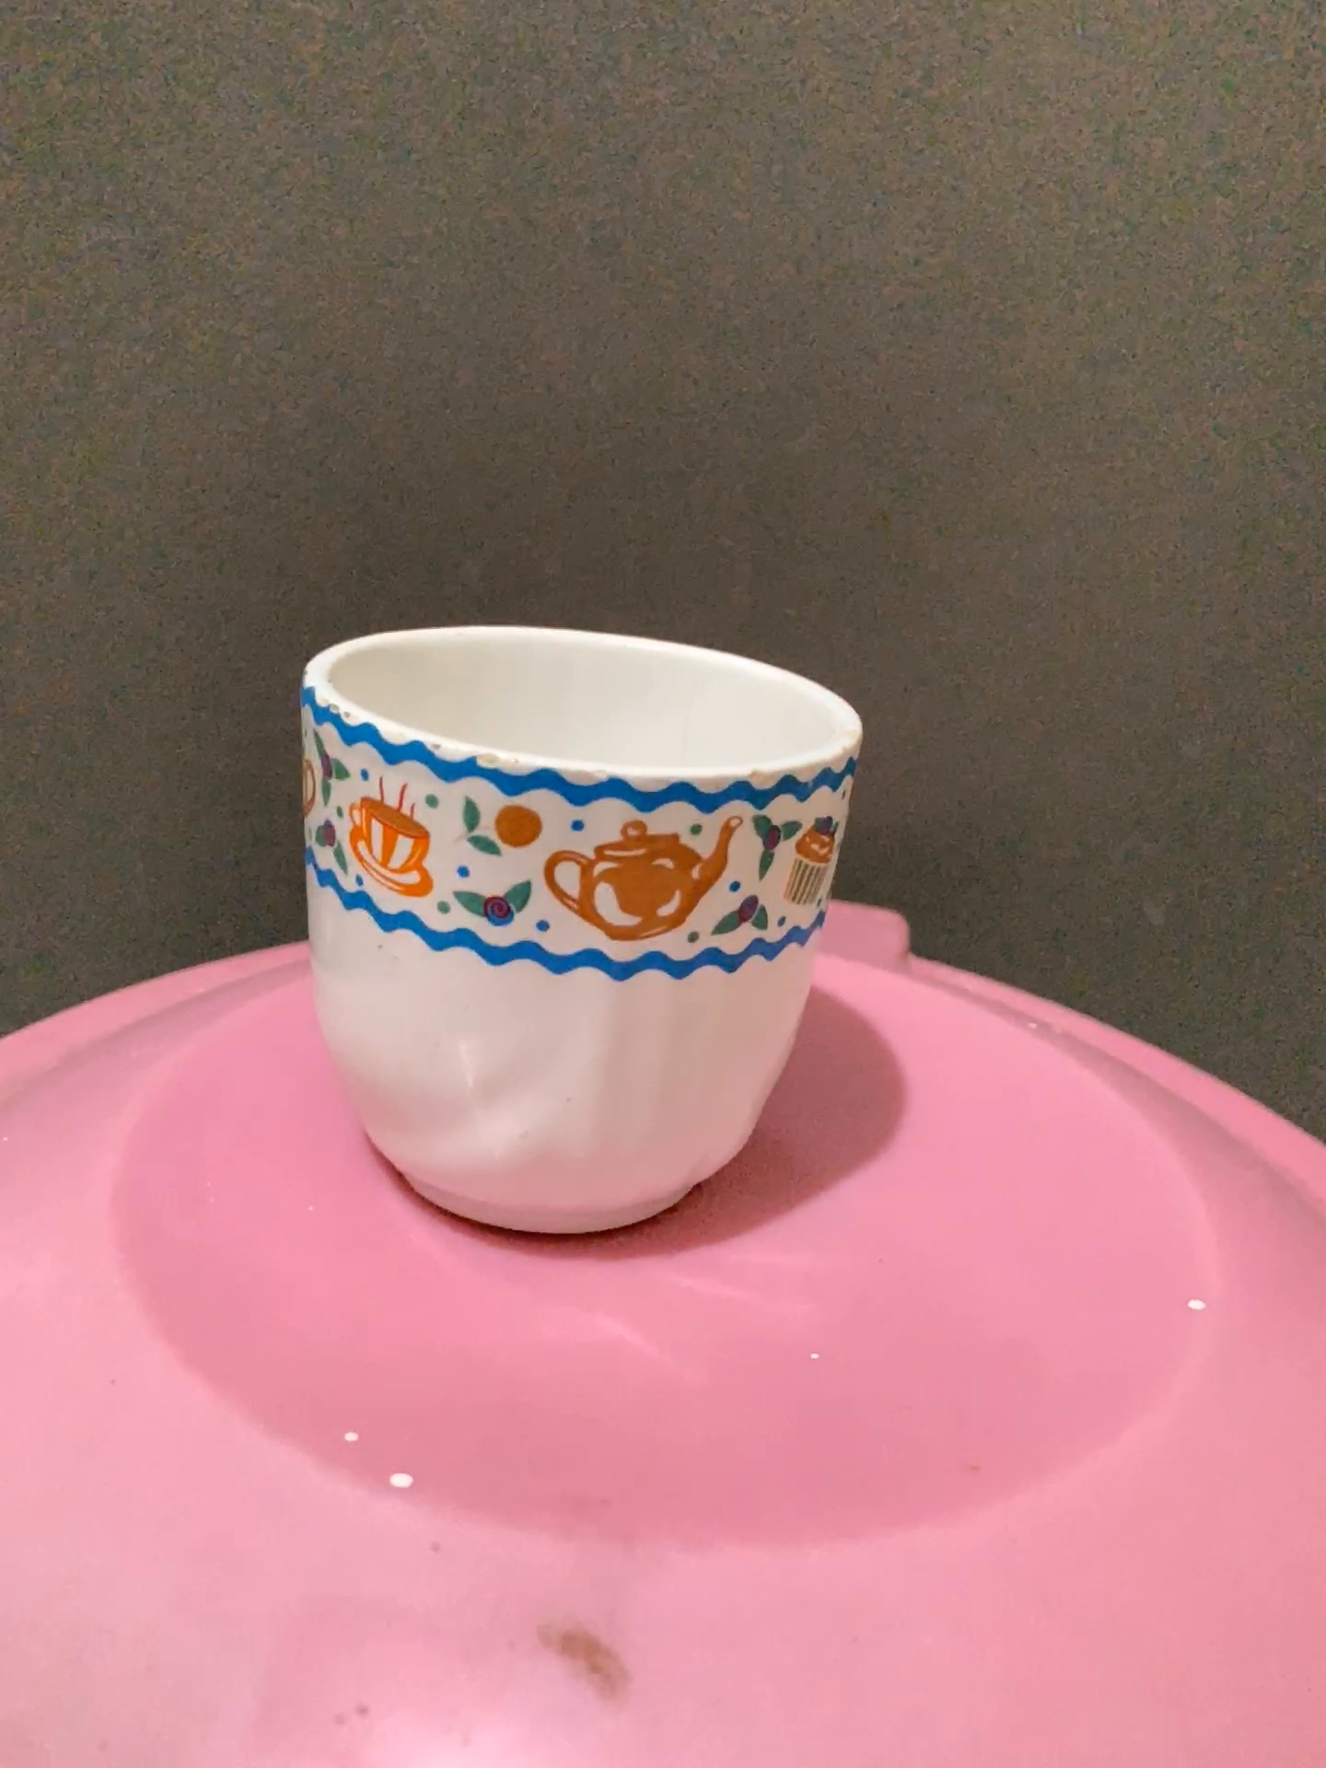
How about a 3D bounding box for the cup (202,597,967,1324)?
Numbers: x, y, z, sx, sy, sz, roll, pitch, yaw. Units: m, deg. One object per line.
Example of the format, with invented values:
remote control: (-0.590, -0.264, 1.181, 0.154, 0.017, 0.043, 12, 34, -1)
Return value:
cup: (-0.008, 0.003, 0.179, 0.075, 0.062, 0.072, 5, 18, -2)
